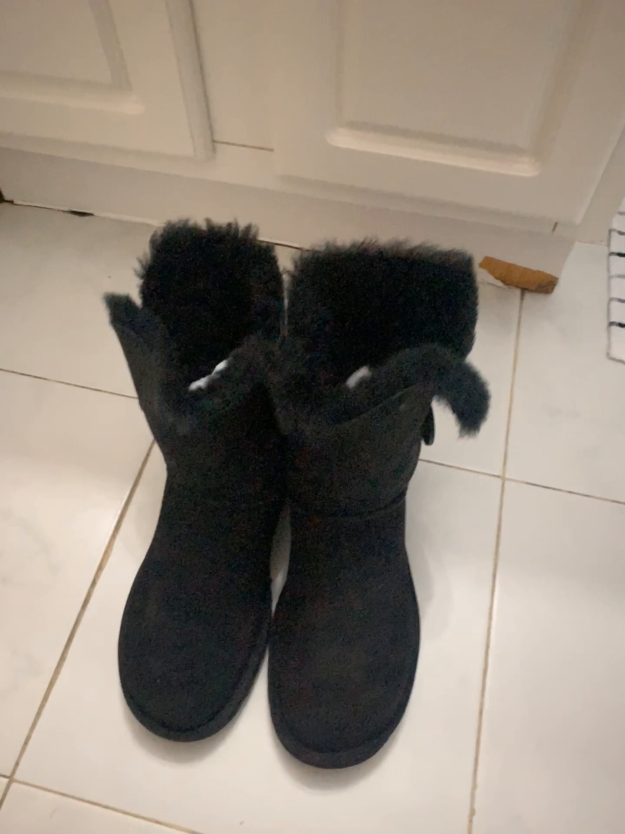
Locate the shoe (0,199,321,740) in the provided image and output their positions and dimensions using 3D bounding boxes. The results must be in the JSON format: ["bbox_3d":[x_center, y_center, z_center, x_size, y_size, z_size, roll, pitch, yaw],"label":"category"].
[{"bbox_3d":[-0.070,0.033,0.407,0.120,0.170,0.290,5,60,3],"label":"shoe"}]

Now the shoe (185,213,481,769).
[{"bbox_3d":[0.025,0.050,0.397,0.110,0.190,0.280,7,60,4],"label":"shoe"}]
